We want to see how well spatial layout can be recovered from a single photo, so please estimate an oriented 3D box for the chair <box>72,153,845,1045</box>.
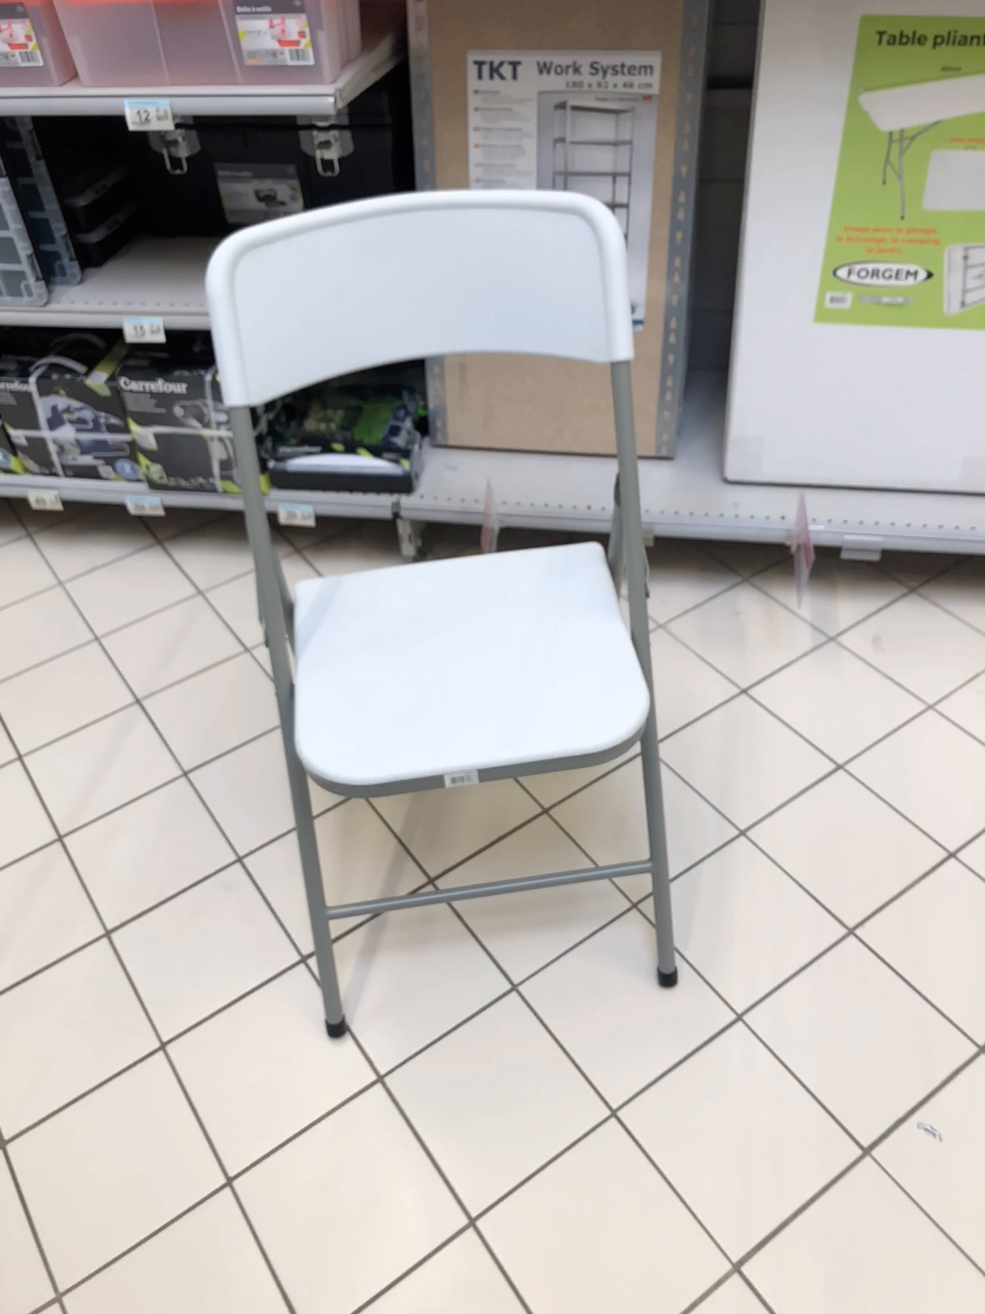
[{"bbox_3d":[-0.030,-0.052,1.209,0.540,0.746,0.563,-7,43,-3],"label":"chair"}]
